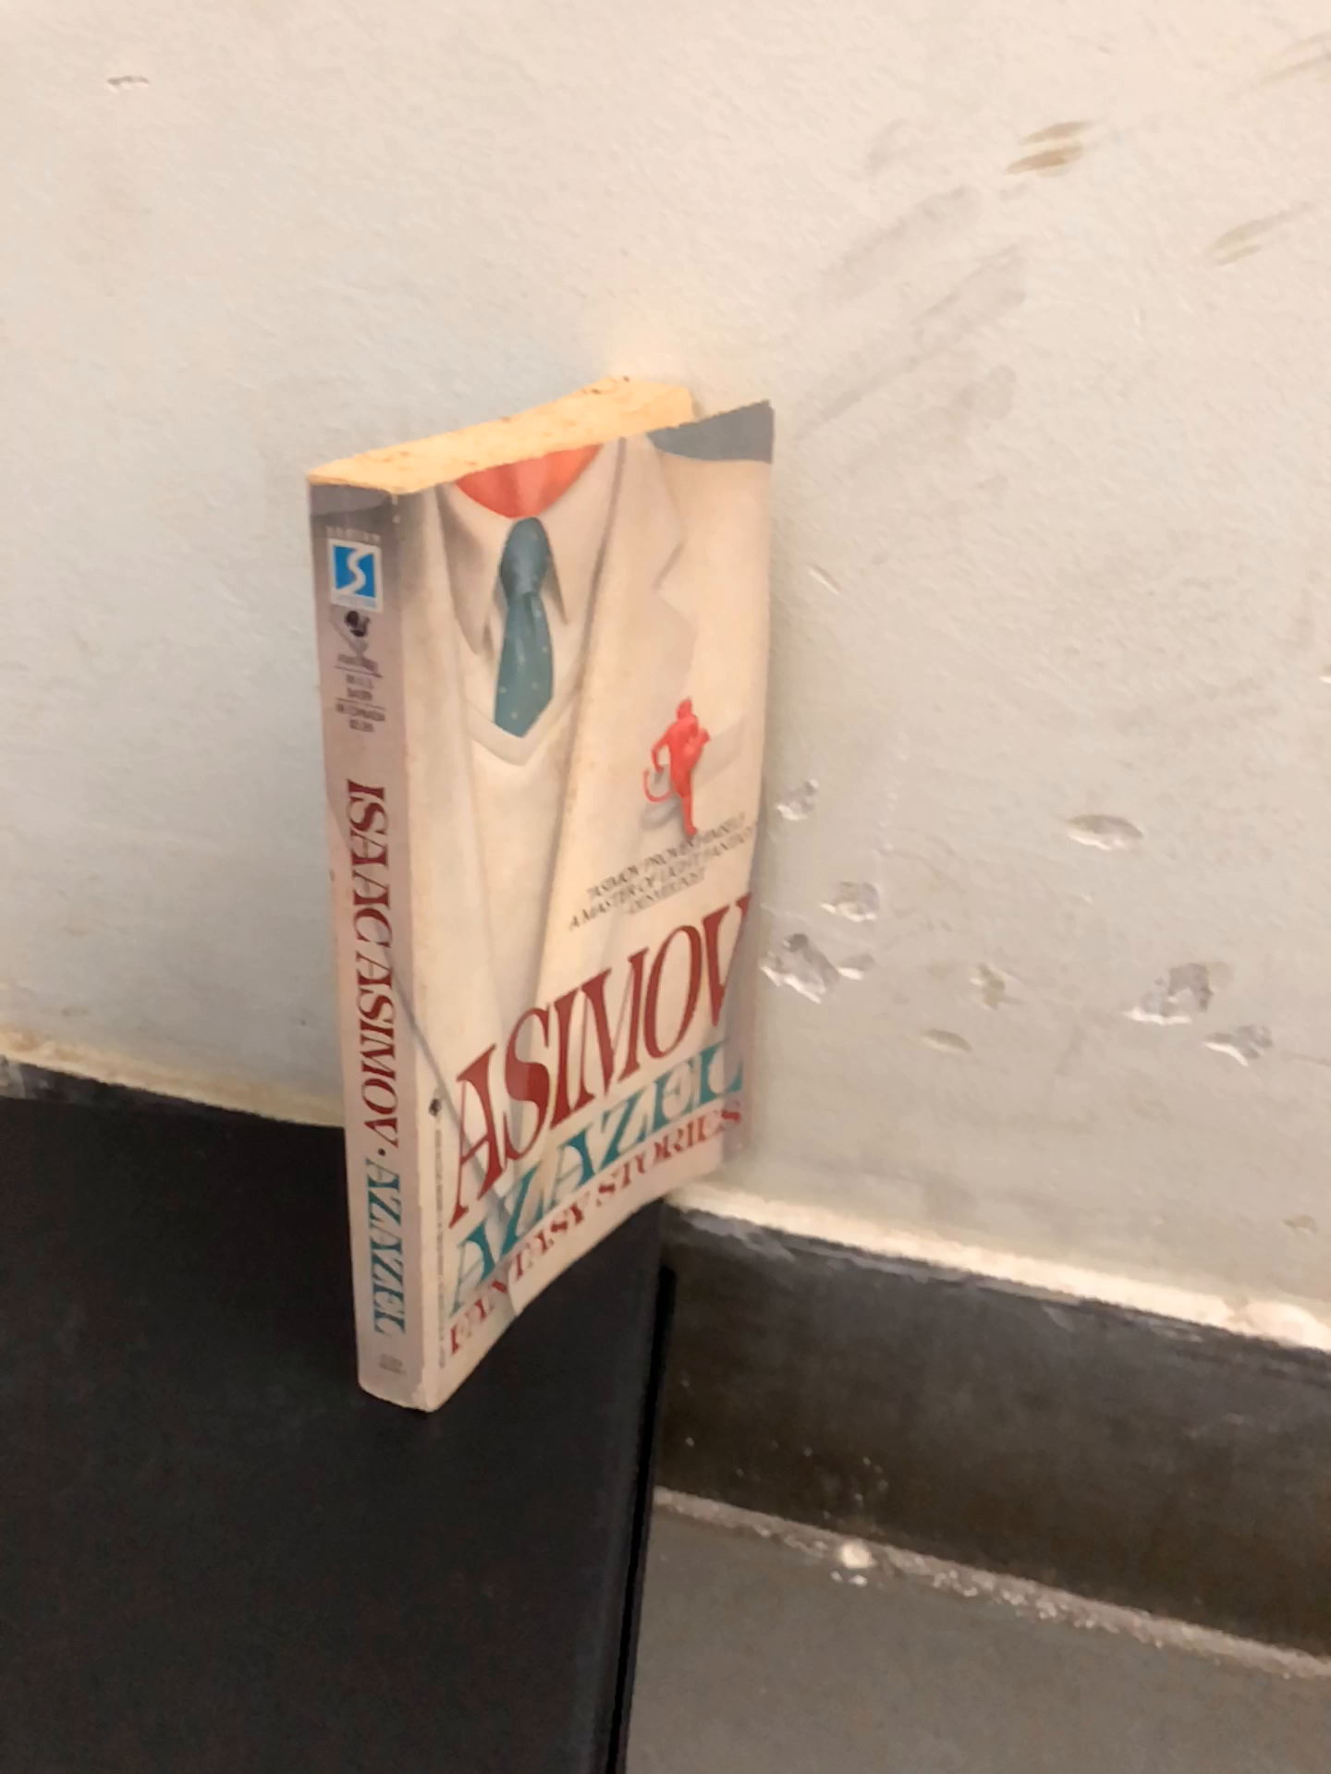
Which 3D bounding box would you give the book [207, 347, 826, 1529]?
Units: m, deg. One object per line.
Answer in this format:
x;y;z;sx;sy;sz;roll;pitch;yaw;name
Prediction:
-0.015;0.000;0.298;0.030;0.189;0.151;13;29;25;book
